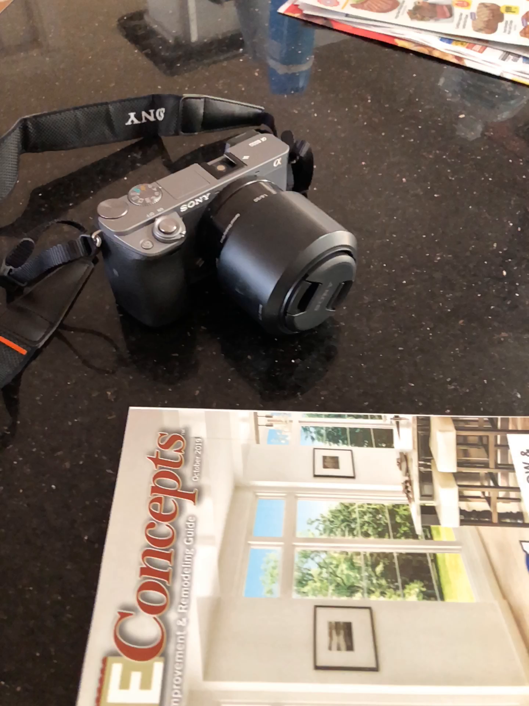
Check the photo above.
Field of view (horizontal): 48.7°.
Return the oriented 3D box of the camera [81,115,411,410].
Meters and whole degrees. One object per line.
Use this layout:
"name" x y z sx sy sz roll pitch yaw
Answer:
"camera" -0.010 -0.055 0.312 0.120 0.060 0.110 -34 61 -24
